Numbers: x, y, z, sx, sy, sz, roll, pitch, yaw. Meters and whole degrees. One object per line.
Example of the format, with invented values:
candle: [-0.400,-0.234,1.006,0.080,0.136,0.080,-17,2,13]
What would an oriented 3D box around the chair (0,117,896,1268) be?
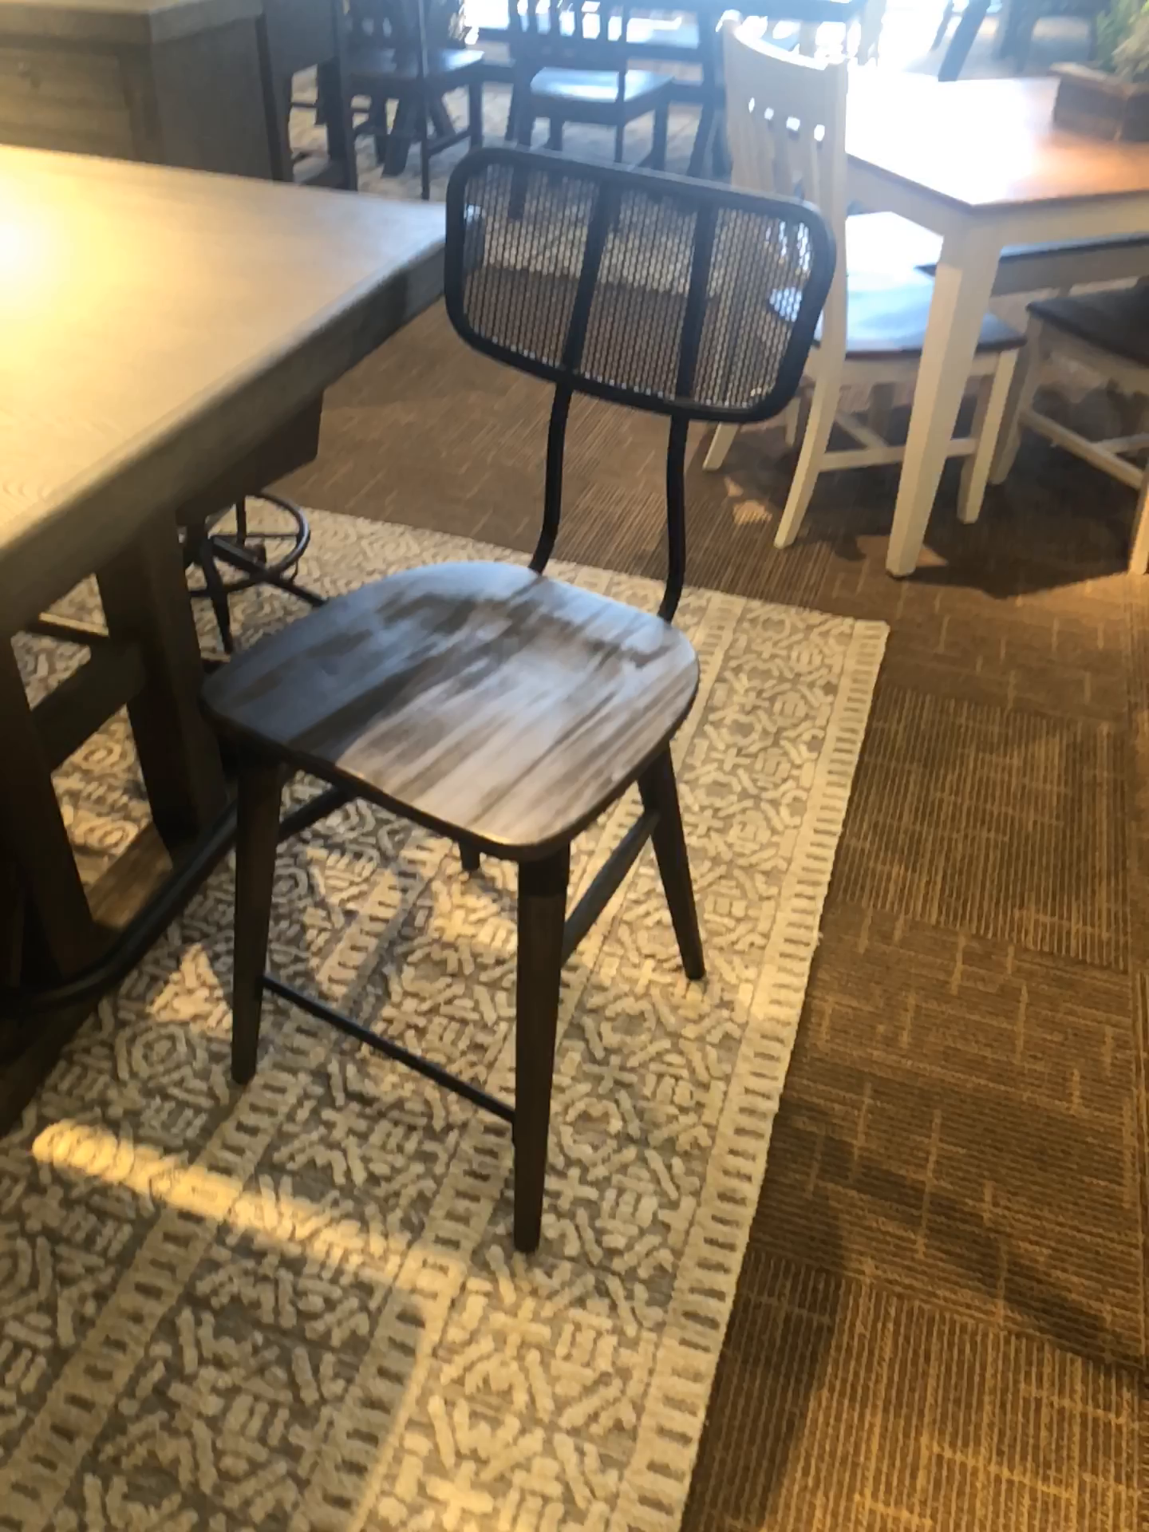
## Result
chair: [-0.090,-0.084,1.340,0.507,0.947,0.606,21,42,23]

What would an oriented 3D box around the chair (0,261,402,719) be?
chair: [-0.722,-0.503,2.171,0.635,0.488,0.522,17,41,18]

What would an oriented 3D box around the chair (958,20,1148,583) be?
chair: [1.232,-0.901,2.418,0.585,0.846,0.521,-14,41,-19]

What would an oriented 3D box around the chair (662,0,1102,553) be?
chair: [0.538,-0.972,2.483,0.490,0.866,0.557,-12,40,-17]
